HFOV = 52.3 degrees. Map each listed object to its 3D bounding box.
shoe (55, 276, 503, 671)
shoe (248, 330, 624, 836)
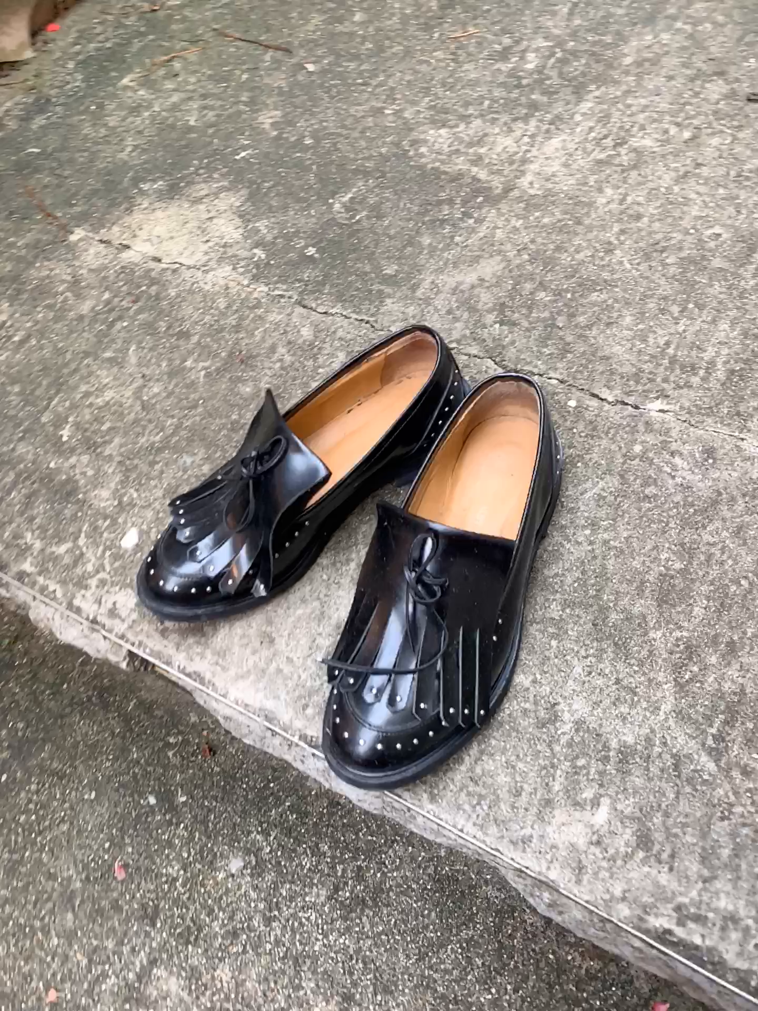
[{"bbox_3d":[-0.051,-0.024,0.469,0.246,0.080,0.094,-36,58,-12],"label":"shoe"},{"bbox_3d":[0.043,0.031,0.420,0.094,0.080,0.249,20,64,20],"label":"shoe"}]
